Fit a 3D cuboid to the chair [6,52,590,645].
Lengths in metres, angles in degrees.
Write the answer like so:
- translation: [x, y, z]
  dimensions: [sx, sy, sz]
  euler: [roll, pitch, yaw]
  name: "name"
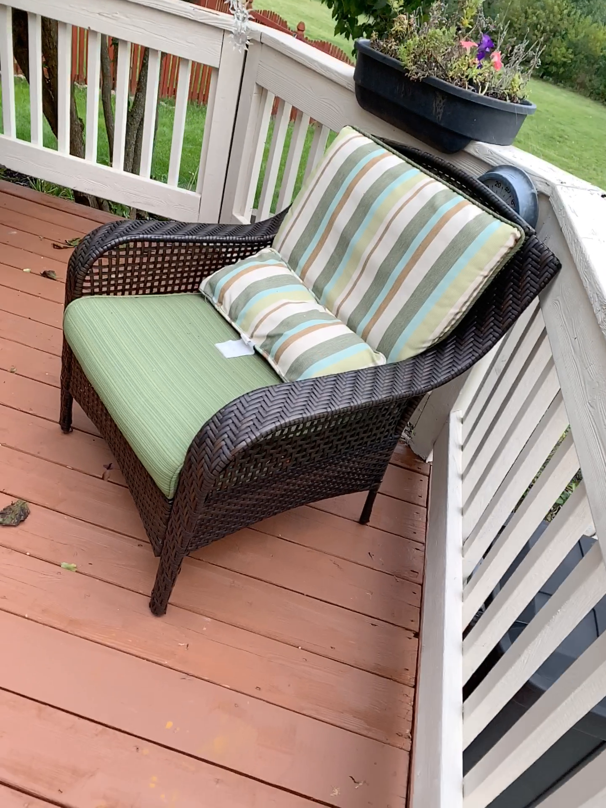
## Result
- translation: [-0.109, -0.183, 1.422]
  dimensions: [0.861, 0.823, 0.814]
  euler: [-11, 44, -34]
  name: "chair"
